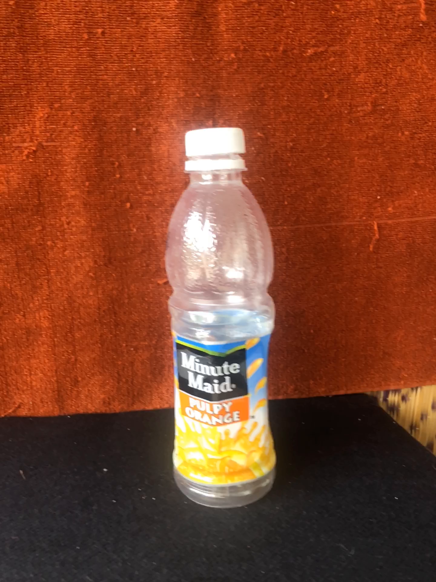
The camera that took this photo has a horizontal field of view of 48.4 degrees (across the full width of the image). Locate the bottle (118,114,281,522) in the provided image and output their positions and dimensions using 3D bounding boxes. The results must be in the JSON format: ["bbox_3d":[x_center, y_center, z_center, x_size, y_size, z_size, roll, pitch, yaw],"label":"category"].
[{"bbox_3d":[-0.005,0.013,0.266,0.070,0.199,0.070,0,13,0],"label":"bottle"}]
